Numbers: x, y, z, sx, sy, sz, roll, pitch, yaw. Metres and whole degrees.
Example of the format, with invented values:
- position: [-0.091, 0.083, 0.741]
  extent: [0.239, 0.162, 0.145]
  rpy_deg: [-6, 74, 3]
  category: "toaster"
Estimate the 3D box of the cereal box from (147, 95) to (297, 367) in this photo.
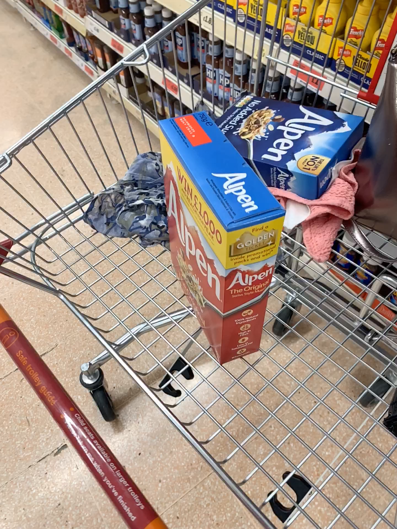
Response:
- position: [0.016, -0.024, 0.460]
  extent: [0.060, 0.248, 0.181]
  rpy_deg: [-21, 54, -13]
  category: "cereal box"
